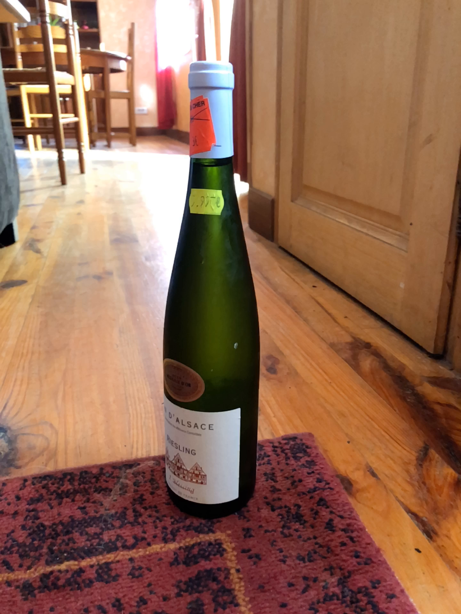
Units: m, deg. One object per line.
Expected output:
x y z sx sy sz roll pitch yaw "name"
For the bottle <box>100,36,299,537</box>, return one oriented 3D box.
-0.013 -0.006 0.339 0.080 0.299 0.080 -1 21 0 "bottle"
